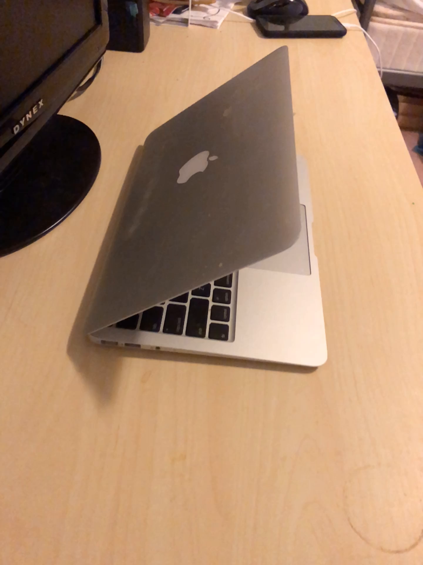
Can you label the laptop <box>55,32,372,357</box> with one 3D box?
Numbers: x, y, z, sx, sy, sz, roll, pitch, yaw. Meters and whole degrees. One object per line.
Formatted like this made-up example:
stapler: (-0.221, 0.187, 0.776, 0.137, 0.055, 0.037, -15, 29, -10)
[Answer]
laptop: (0.006, -0.097, 0.419, 0.189, 0.127, 0.288, 6, 48, 0)
